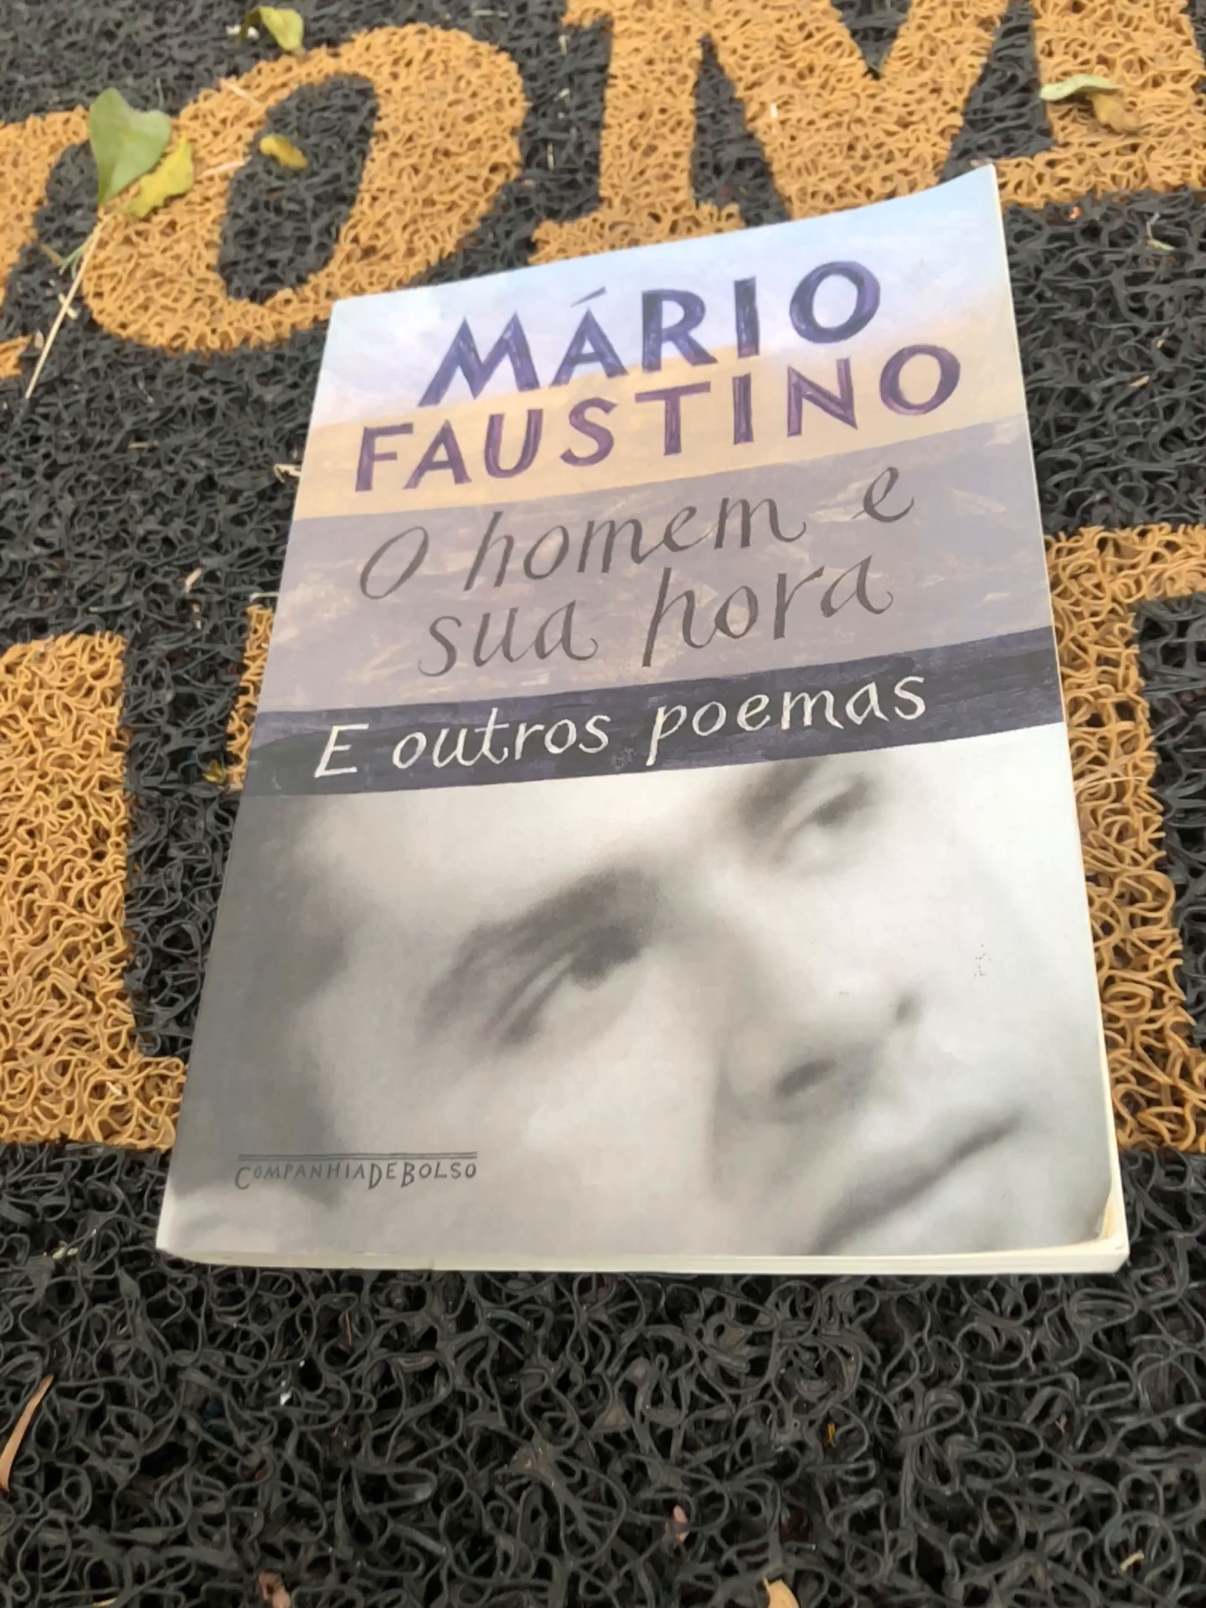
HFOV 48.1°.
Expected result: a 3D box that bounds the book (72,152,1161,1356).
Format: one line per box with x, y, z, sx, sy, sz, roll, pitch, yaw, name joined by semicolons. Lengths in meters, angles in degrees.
0.002;-0.016;0.198;0.124;0.020;0.175;-4;61;15;book
